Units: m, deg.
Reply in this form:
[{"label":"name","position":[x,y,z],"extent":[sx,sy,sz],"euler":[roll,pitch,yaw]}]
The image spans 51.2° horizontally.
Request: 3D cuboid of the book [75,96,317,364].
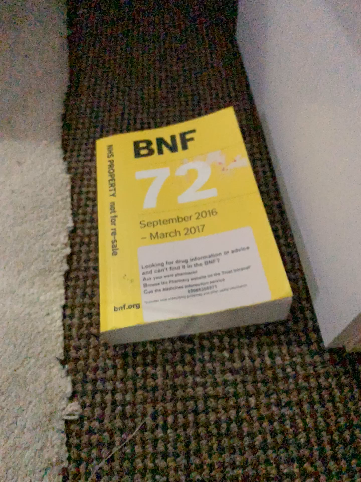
[{"label":"book","position":[-0.004,-0.025,0.327],"extent":[0.160,0.050,0.221],"euler":[-9,58,-3]}]
